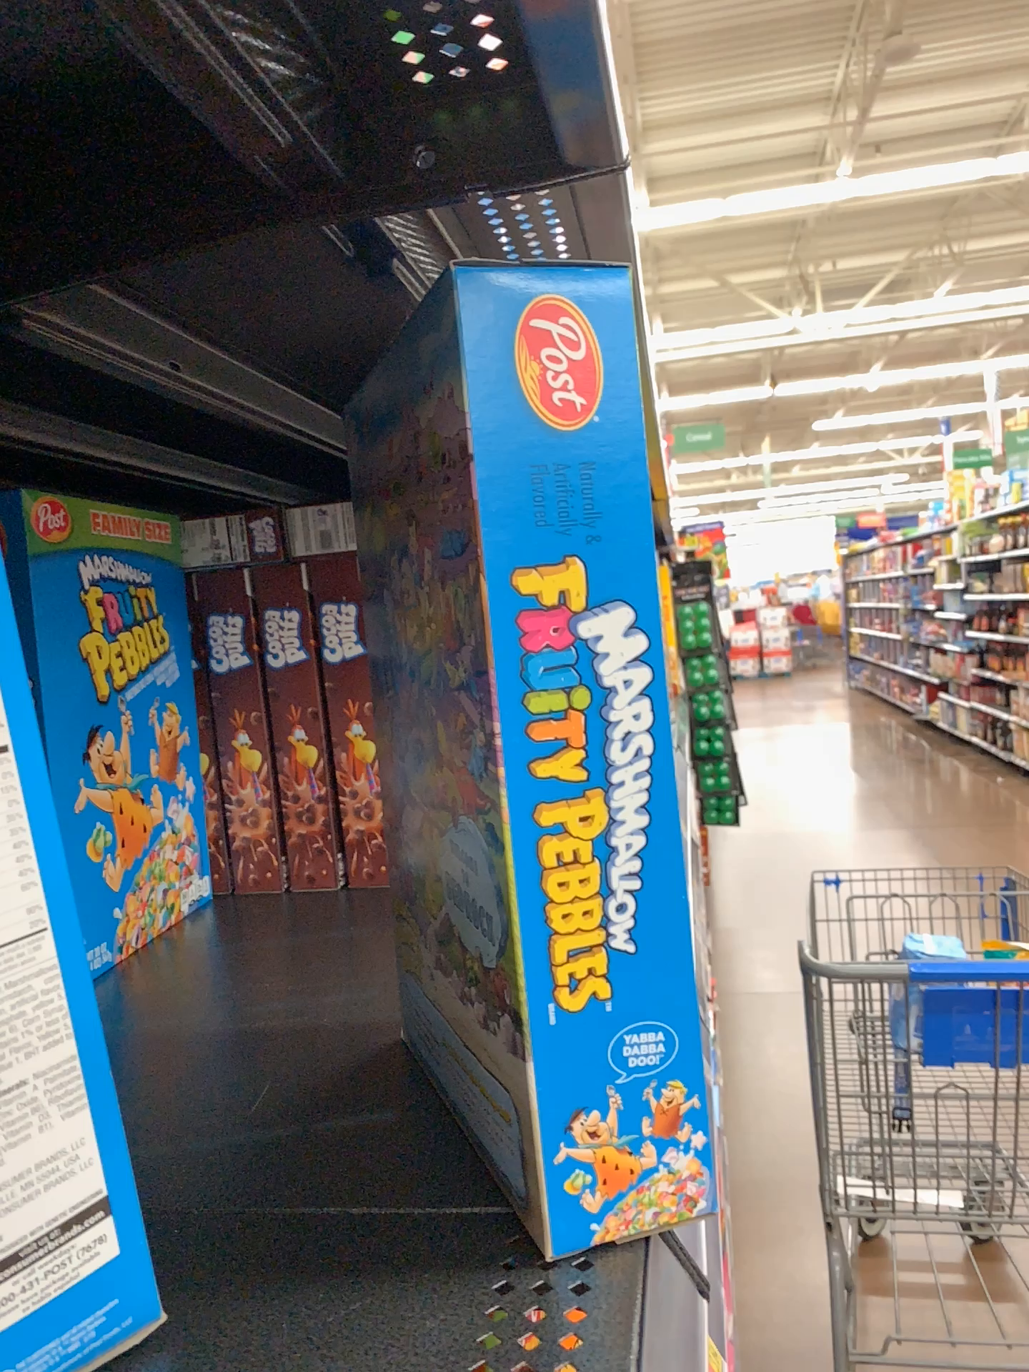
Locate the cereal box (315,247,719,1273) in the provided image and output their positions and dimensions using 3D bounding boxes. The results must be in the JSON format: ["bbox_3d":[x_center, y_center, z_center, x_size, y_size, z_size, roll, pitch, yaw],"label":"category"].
[{"bbox_3d":[-0.016,0.021,0.458,0.070,0.330,0.230,-6,2,-20],"label":"cereal box"}]
